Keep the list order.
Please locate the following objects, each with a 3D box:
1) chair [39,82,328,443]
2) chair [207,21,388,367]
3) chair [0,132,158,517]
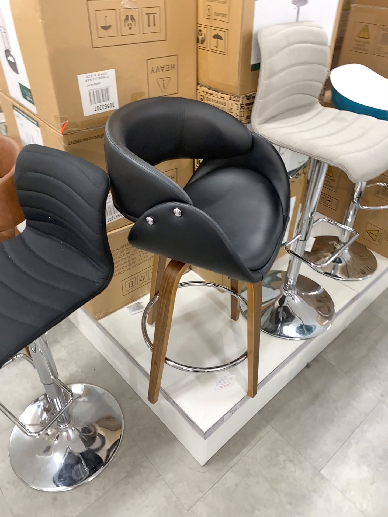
[{"bbox_3d":[0.023,0.022,1.255,0.547,0.897,0.569,13,42,14],"label":"chair"},{"bbox_3d":[0.382,-0.202,1.321,0.436,0.967,0.439,-28,46,-36],"label":"chair"},{"bbox_3d":[-0.485,0.233,1.197,0.486,1.016,0.469,25,43,33],"label":"chair"}]
